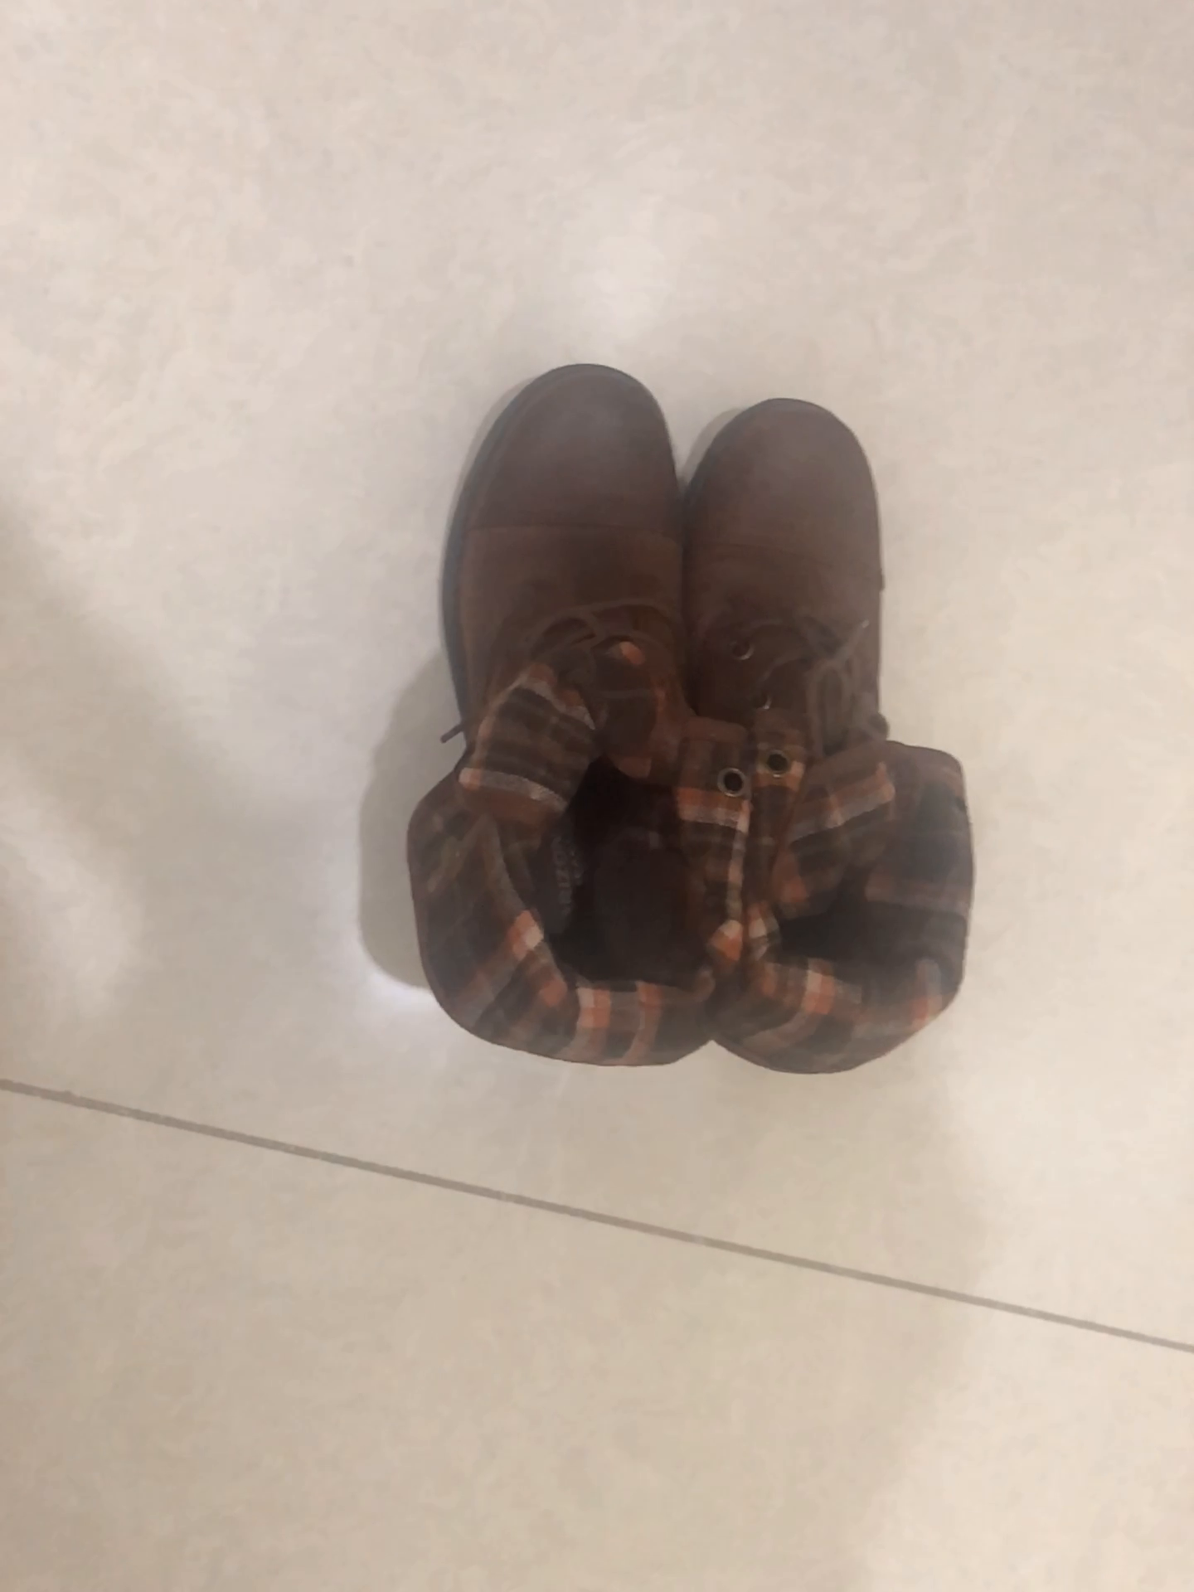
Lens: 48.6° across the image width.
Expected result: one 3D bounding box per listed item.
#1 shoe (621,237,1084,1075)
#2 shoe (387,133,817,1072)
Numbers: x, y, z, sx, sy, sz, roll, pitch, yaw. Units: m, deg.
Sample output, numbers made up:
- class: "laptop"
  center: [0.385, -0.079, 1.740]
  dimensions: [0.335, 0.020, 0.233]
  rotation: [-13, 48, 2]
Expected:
- class: "shoe"
  center: [0.090, -0.042, 0.509]
  dimensions: [0.100, 0.140, 0.270]
  rotation: [6, 87, -17]
- class: "shoe"
  center: [-0.006, -0.055, 0.480]
  dimensions: [0.110, 0.150, 0.280]
  rotation: [2, 88, -17]
